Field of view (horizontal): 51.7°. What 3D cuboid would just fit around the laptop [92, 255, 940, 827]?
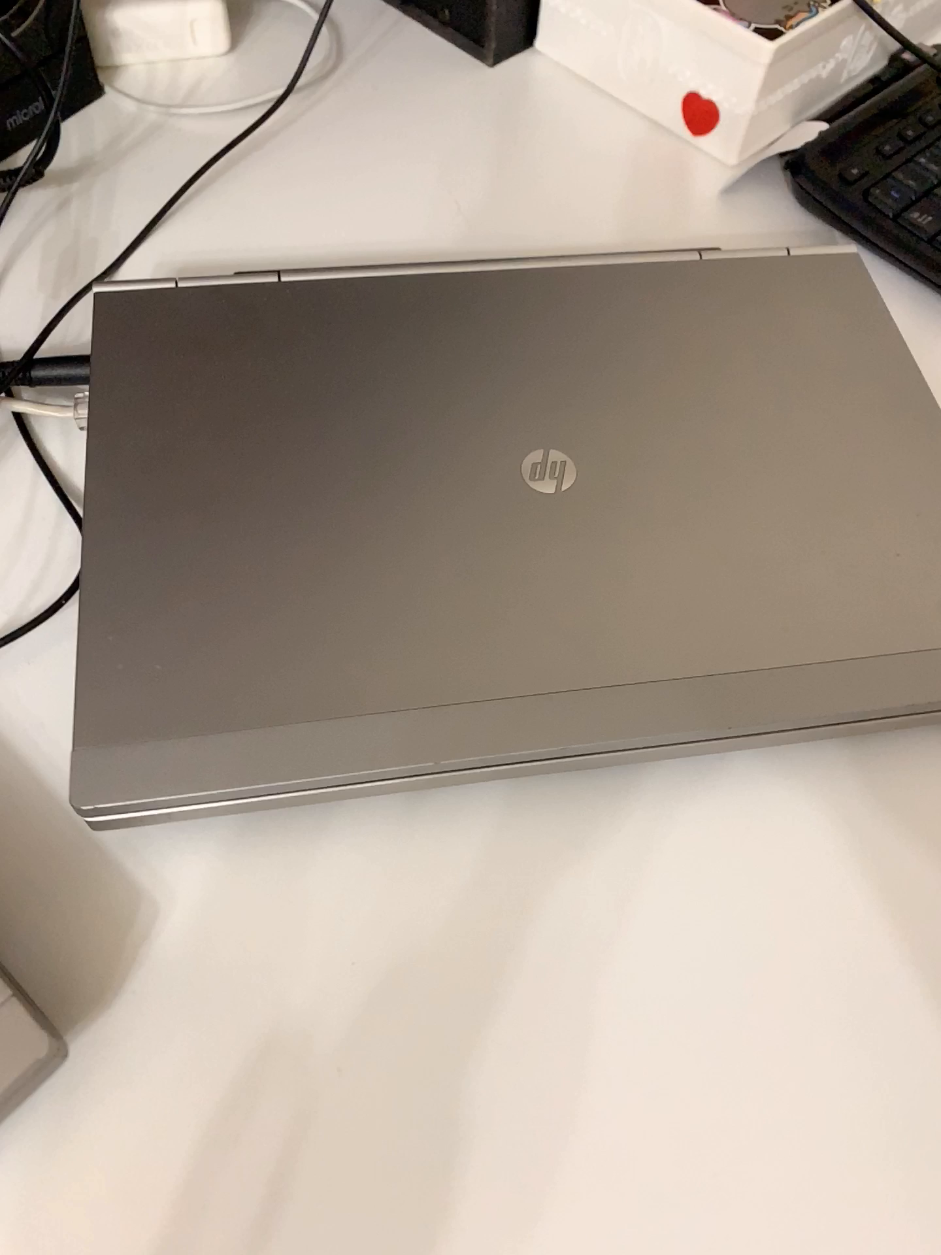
[{"bbox_3d":[0.025,-0.047,0.331,0.291,0.016,0.193,-6,63,-9],"label":"laptop"}]
